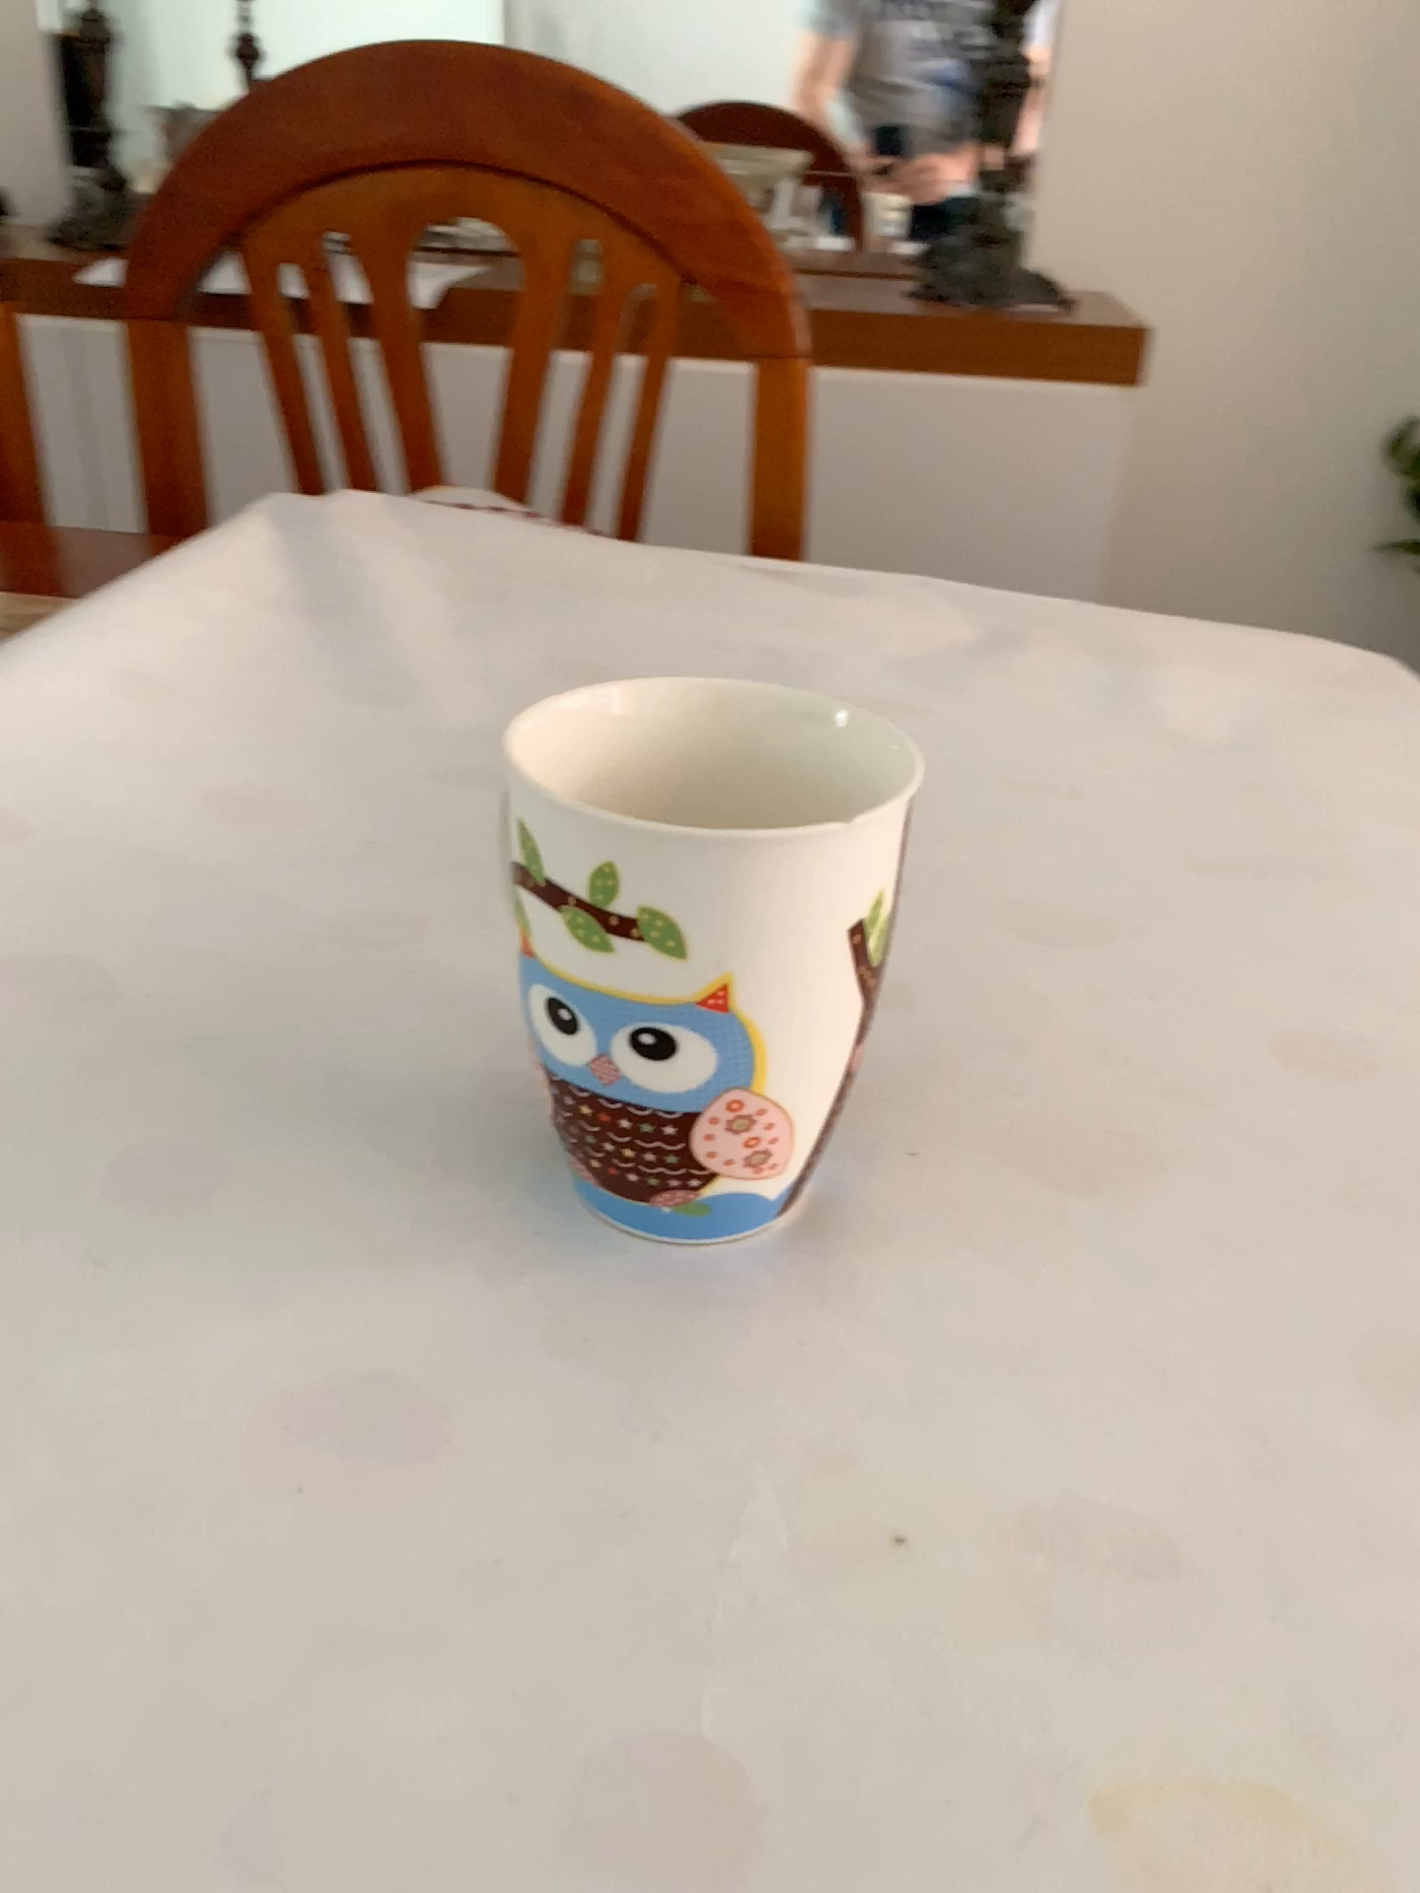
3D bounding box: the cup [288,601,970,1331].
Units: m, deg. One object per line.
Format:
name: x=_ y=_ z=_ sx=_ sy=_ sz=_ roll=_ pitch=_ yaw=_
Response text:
cup: x=-0.020 y=-0.004 z=0.311 sx=0.110 sy=0.099 sz=0.080 roll=28 pitch=37 yaw=37
